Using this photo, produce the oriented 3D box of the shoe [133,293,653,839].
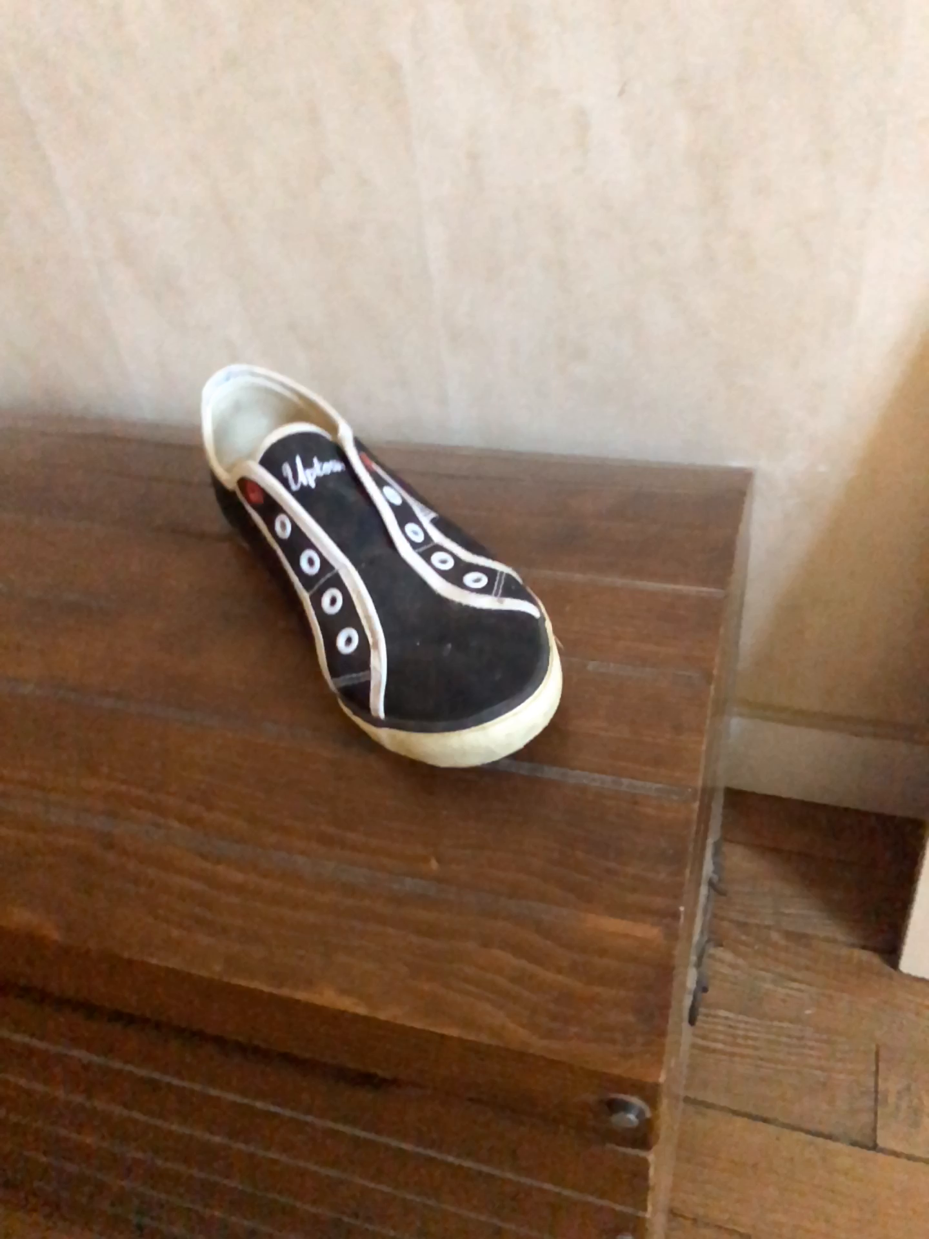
[{"bbox_3d":[-0.039,-0.040,0.426,0.100,0.080,0.241,-27,47,-18],"label":"shoe"}]
